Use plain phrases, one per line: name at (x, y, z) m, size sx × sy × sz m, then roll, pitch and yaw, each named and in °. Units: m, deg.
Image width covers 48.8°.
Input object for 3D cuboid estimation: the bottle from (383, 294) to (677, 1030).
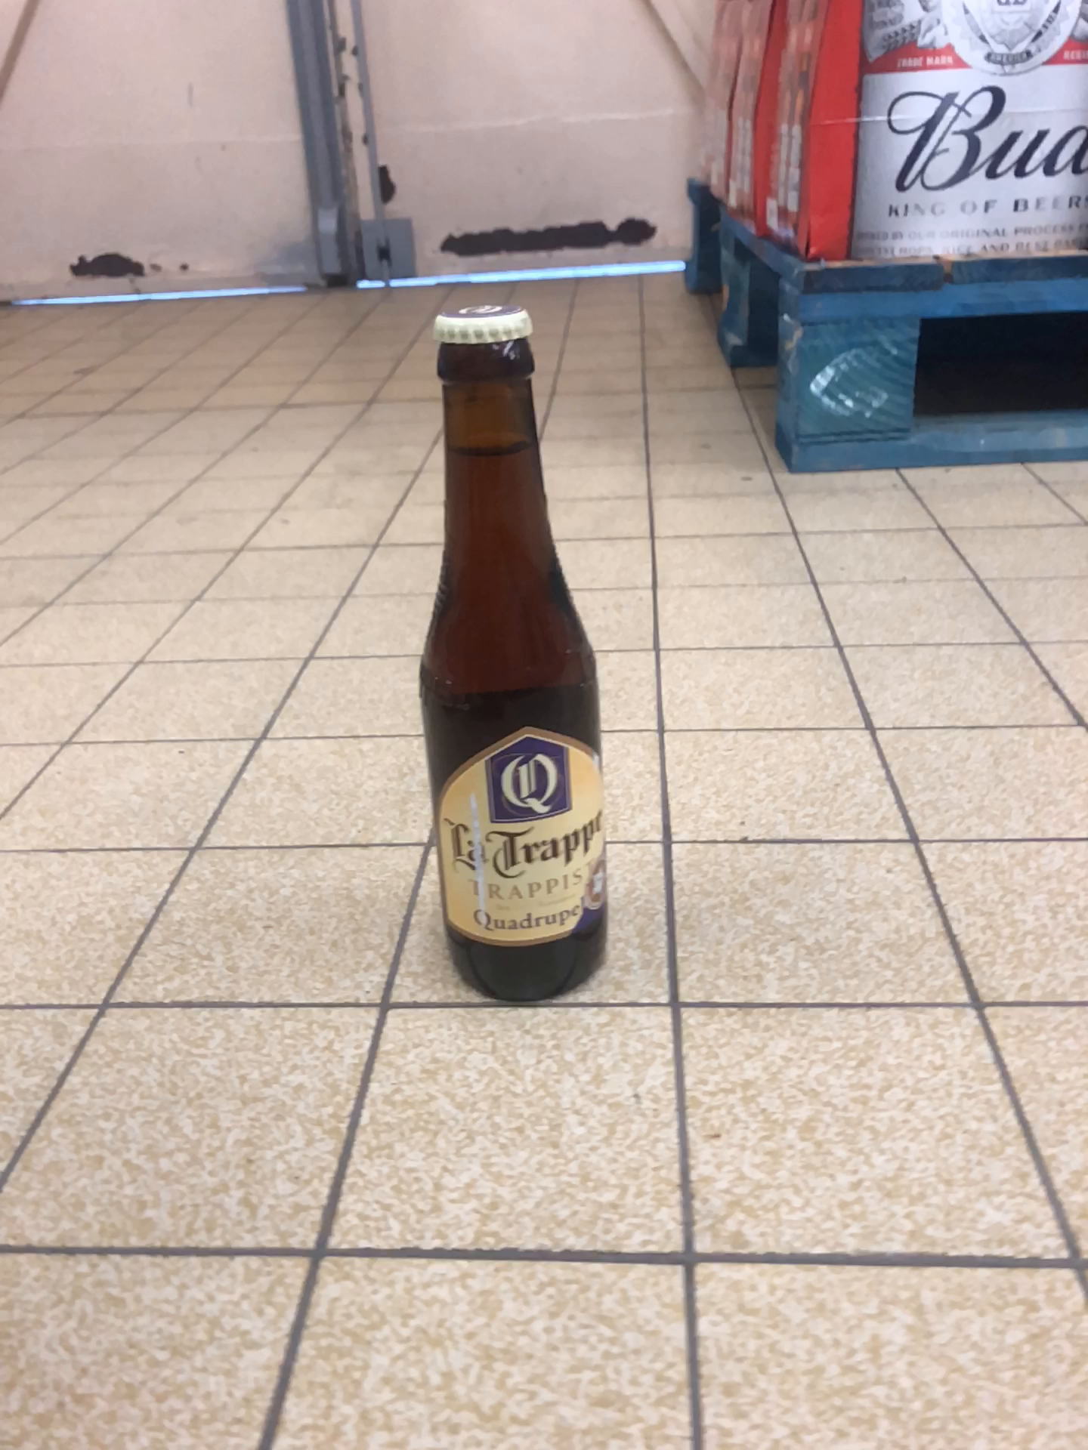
bottle at (-0.002, -0.017, 0.387) m, size 0.070 × 0.219 × 0.070 m, roll -3°, pitch 26°, yaw 1°
